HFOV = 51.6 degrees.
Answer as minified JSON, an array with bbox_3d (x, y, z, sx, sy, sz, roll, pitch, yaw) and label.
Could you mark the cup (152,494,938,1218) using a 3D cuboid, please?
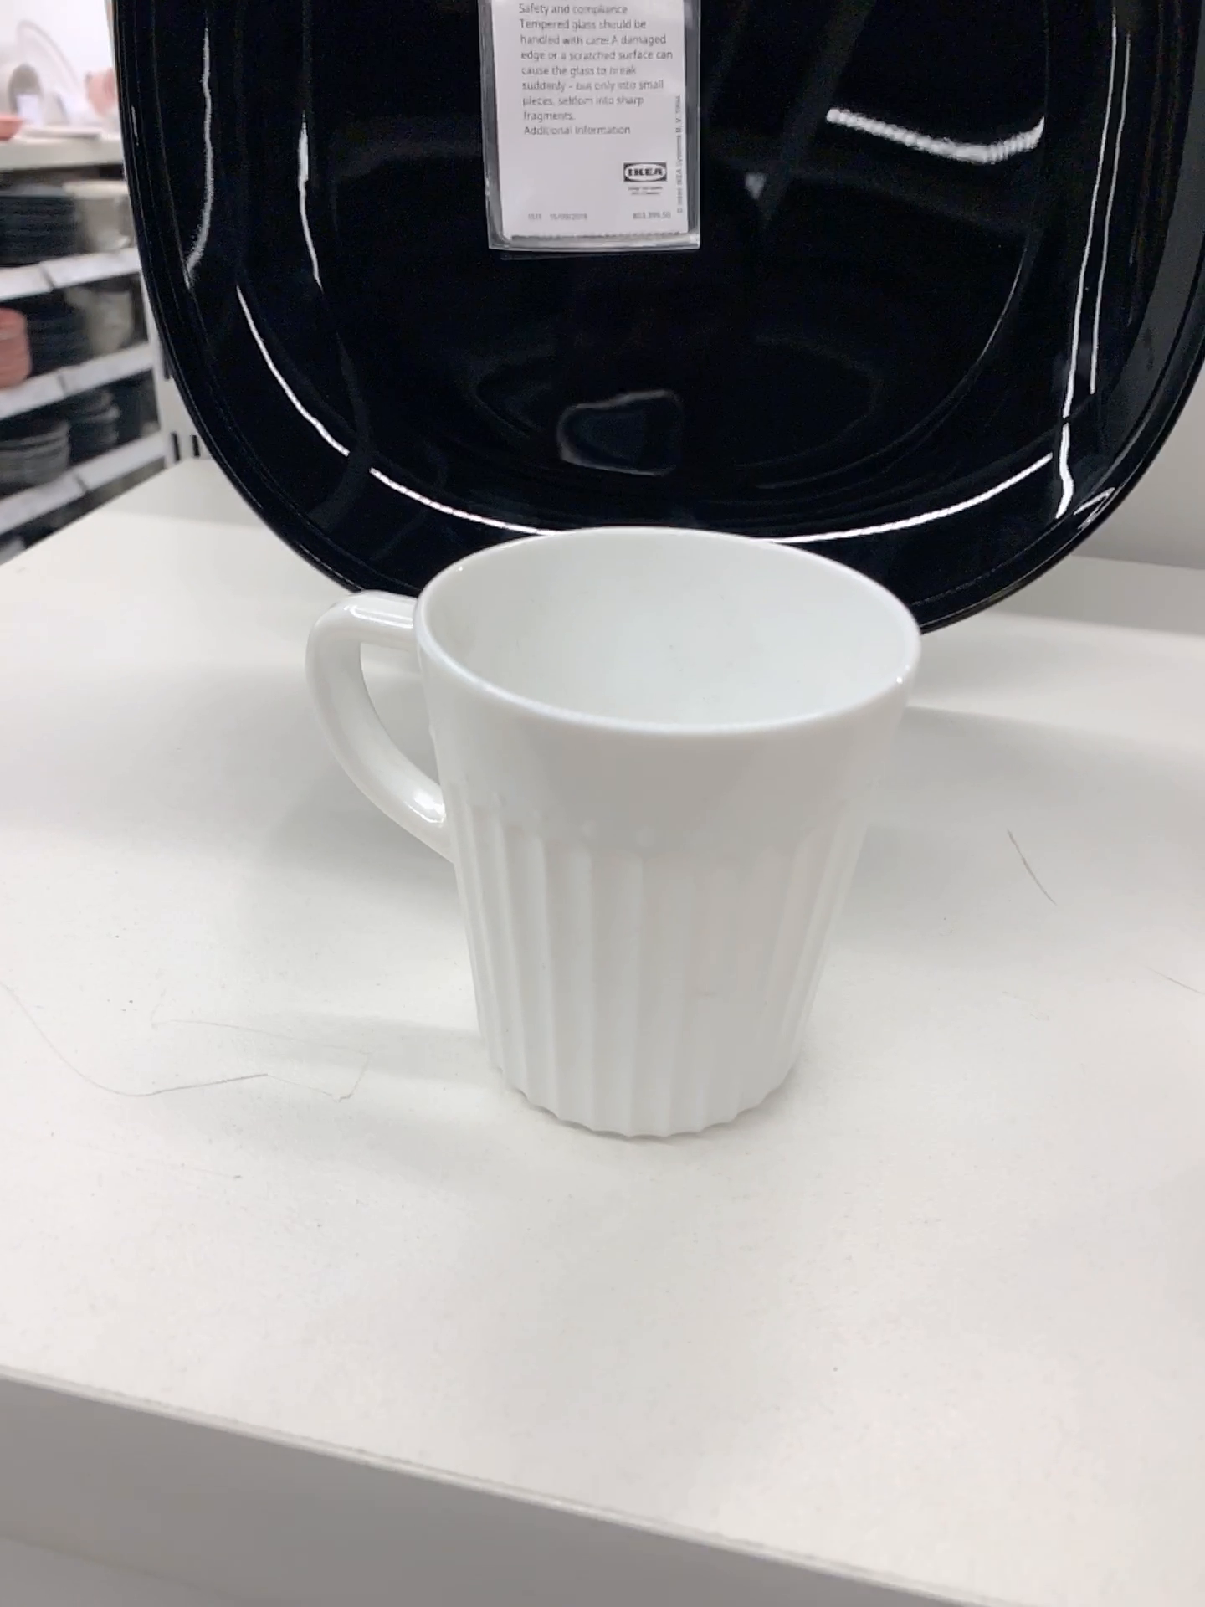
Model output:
[{"bbox_3d":[-0.004,0.001,0.232,0.110,0.080,0.090,11,31,14],"label":"cup"}]
